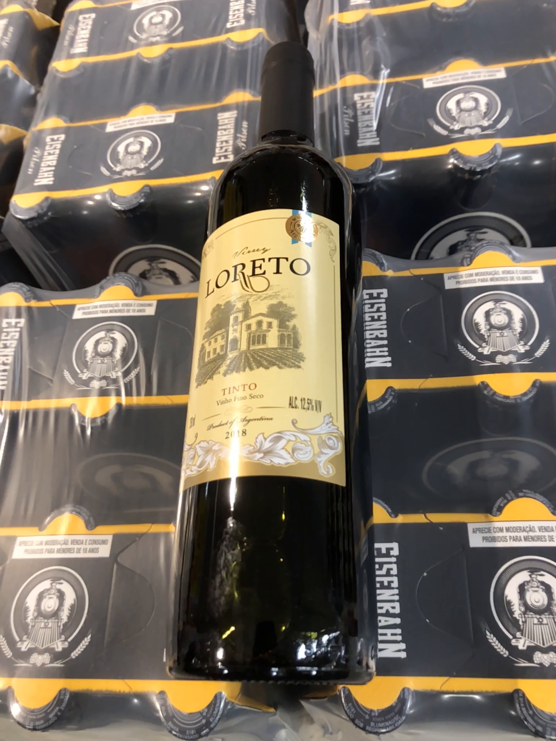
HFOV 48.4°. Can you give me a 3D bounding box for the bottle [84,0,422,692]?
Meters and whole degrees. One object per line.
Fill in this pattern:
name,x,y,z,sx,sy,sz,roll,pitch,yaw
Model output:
bottle,0.001,-0.049,0.269,0.080,0.080,0.331,-10,61,21
